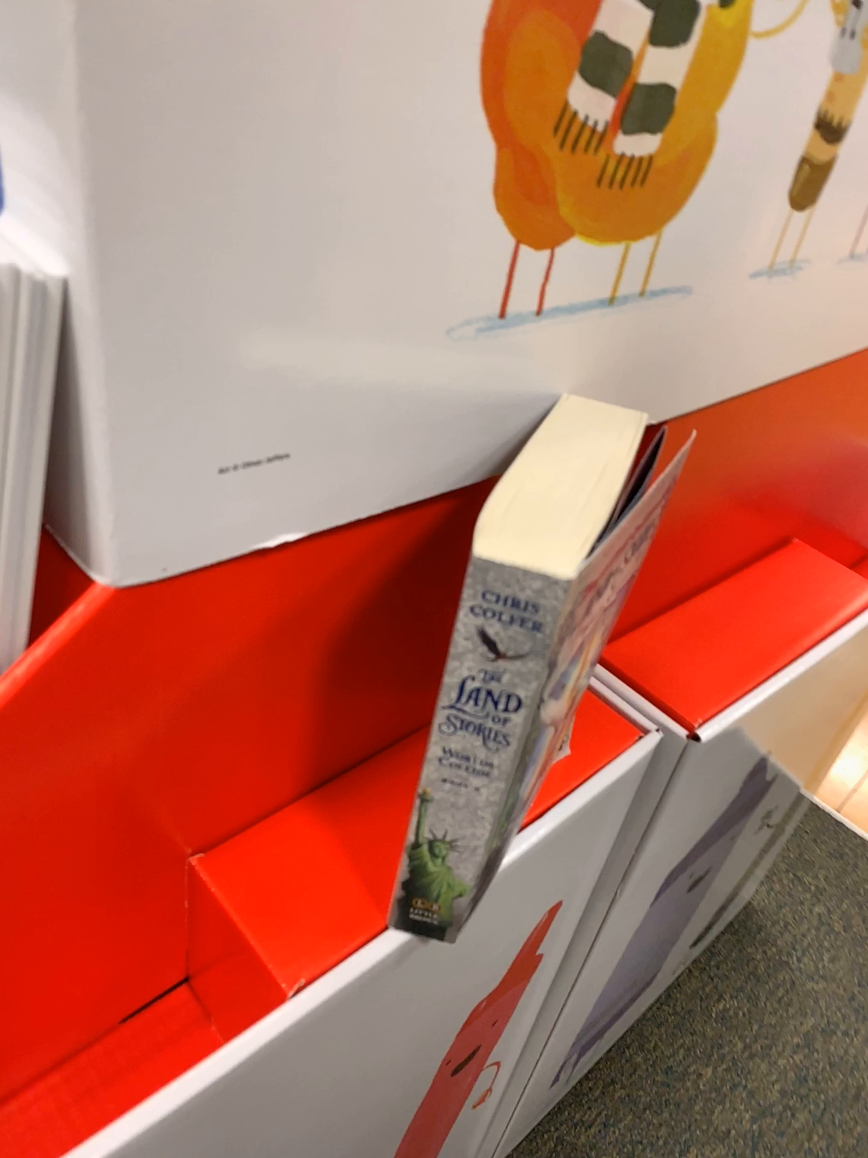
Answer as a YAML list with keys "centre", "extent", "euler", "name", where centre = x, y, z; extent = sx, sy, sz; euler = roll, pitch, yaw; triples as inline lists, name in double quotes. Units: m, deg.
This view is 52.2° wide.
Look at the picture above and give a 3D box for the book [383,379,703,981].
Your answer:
- centre: [0.042, 0.041, 0.355]
  extent: [0.065, 0.193, 0.130]
  euler: [17, 37, 9]
  name: "book"
